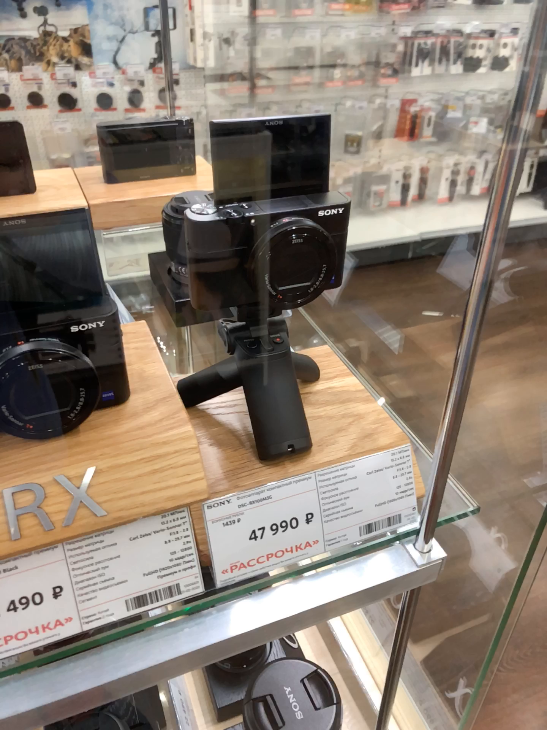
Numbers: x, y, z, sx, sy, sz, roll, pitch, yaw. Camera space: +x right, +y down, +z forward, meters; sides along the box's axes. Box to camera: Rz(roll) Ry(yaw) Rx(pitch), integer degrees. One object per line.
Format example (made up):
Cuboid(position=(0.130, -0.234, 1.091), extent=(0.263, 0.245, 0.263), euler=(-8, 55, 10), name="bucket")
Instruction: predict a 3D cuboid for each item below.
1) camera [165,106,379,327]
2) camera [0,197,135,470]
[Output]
Cuboid(position=(-0.003, -0.089, 0.357), extent=(0.102, 0.102, 0.057), euler=(-12, 36, -19), name="camera")
Cuboid(position=(-0.133, -0.019, 0.305), extent=(0.102, 0.102, 0.065), euler=(-12, 36, -19), name="camera")
